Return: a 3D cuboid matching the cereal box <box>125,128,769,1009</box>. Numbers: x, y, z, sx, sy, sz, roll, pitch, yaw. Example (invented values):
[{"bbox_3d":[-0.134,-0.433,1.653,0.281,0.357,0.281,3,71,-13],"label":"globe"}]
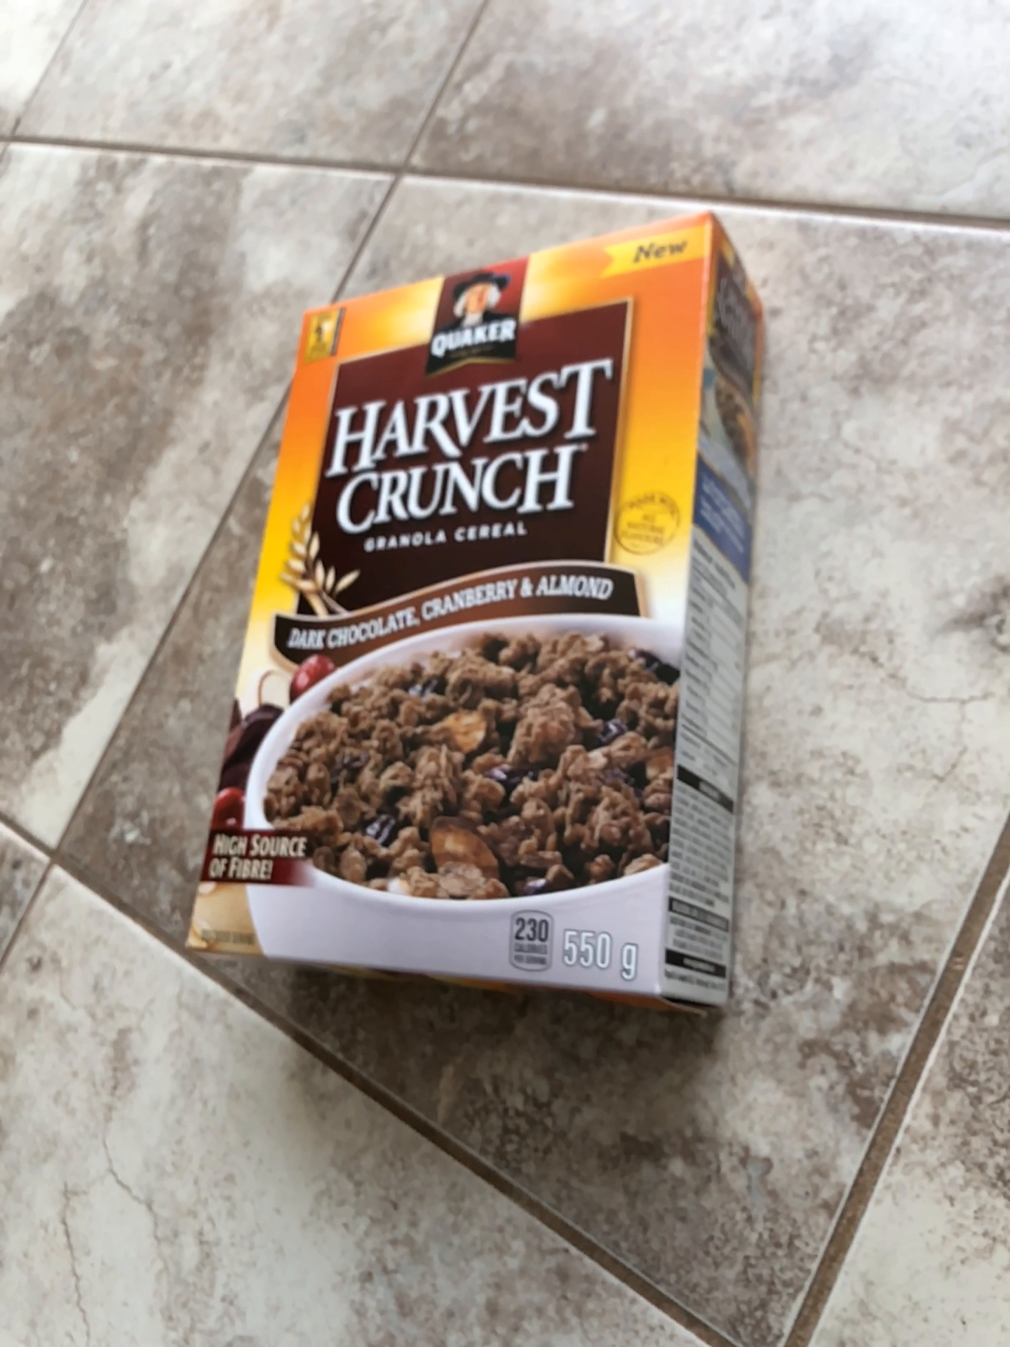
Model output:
[{"bbox_3d":[-0.012,-0.030,0.374,0.171,0.070,0.250,-3,70,29],"label":"cereal box"}]
